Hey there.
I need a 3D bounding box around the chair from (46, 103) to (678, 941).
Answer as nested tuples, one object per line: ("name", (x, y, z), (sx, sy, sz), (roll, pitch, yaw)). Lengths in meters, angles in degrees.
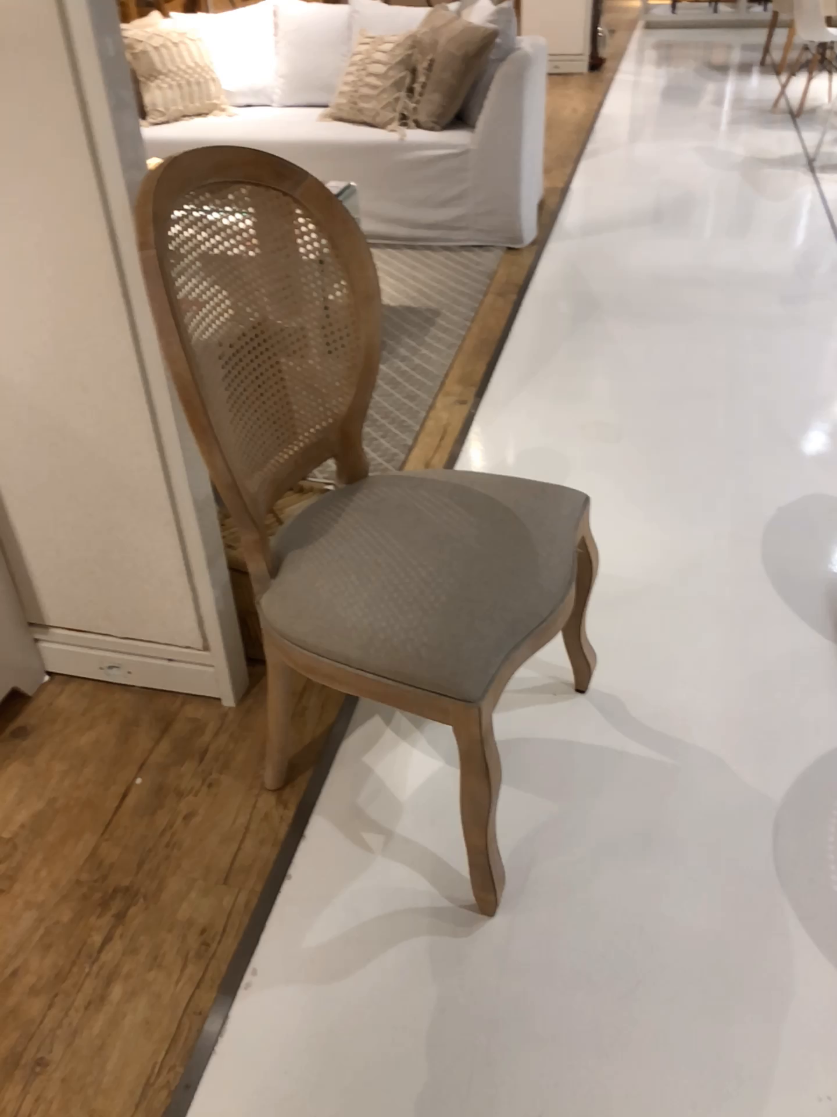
("chair", (0.001, -0.068, 1.333), (0.520, 0.962, 0.594), (12, 38, 20))
